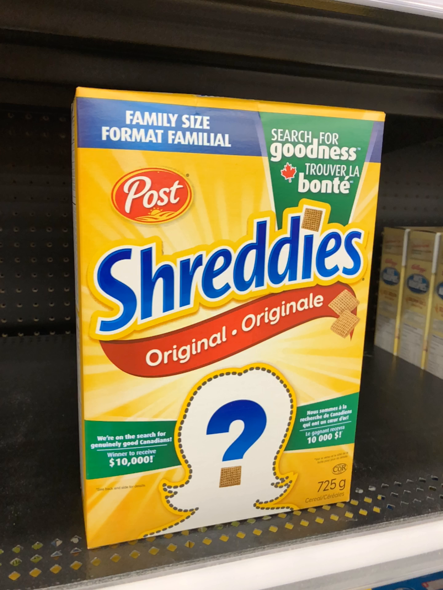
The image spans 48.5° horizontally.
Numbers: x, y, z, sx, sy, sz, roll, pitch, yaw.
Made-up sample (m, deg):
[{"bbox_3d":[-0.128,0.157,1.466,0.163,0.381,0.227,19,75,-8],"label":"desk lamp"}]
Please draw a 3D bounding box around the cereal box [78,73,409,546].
[{"bbox_3d":[0.009,0.011,0.357,0.210,0.289,0.070,-2,12,-18],"label":"cereal box"}]
